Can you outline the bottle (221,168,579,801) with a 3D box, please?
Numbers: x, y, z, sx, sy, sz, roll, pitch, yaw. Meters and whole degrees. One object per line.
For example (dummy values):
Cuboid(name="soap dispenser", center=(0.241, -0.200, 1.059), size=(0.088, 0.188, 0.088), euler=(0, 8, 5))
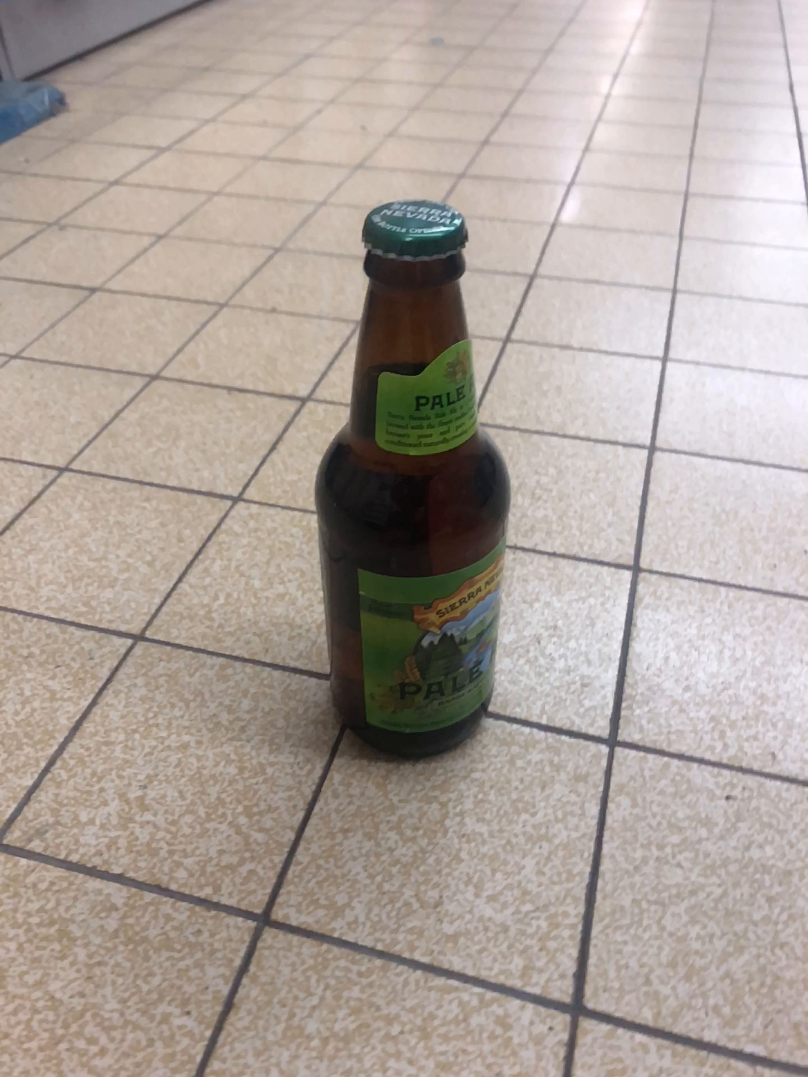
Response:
Cuboid(name="bottle", center=(0.001, -0.008, 0.290), size=(0.070, 0.189, 0.060), euler=(23, 46, 26))
